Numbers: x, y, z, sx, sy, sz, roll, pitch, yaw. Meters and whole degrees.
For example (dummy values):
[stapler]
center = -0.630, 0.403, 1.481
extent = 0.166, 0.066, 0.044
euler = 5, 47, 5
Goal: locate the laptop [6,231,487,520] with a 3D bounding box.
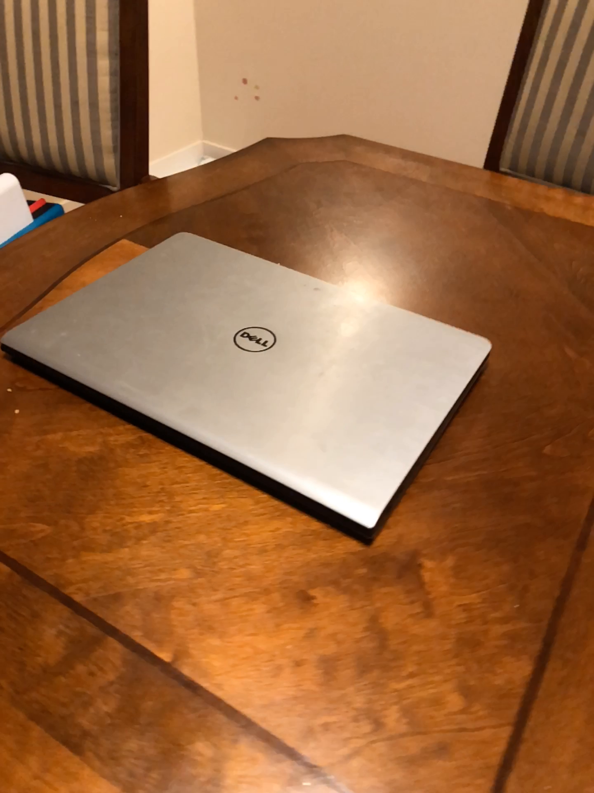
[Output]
[laptop]
center = -0.042, -0.052, 0.591
extent = 0.364, 0.002, 0.244
euler = 24, 45, 22
